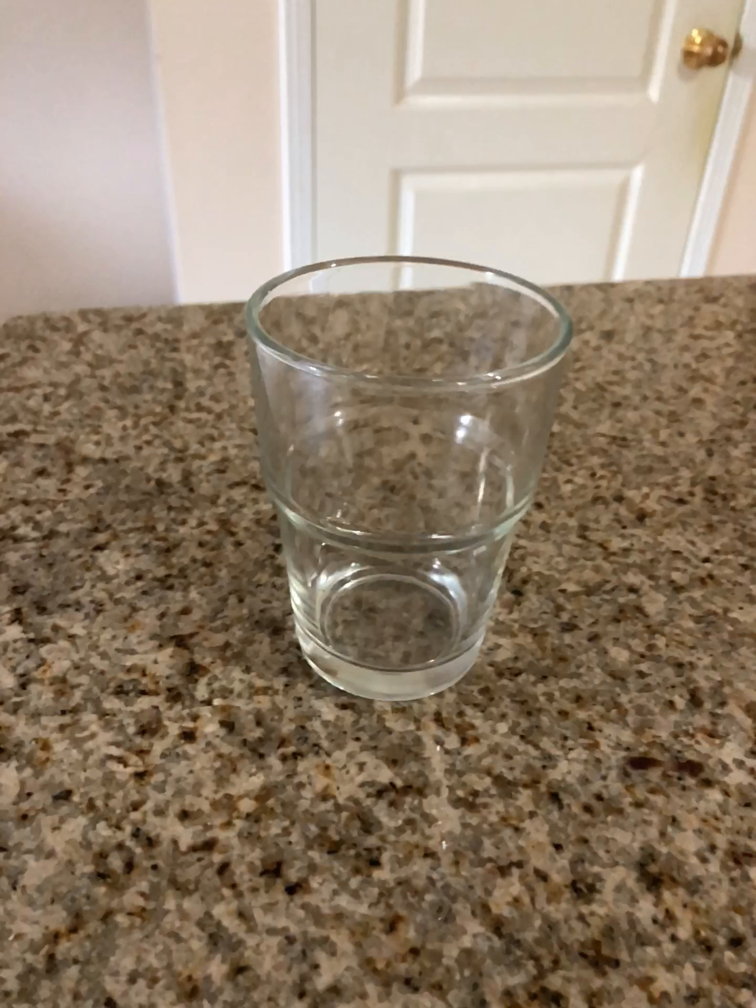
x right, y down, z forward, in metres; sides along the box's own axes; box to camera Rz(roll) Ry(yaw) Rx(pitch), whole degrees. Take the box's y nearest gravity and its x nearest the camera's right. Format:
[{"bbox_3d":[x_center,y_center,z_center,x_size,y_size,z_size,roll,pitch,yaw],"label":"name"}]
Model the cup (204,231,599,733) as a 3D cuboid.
[{"bbox_3d":[0.006,-0.009,0.230,0.070,0.100,0.070,2,34,-1],"label":"cup"}]
